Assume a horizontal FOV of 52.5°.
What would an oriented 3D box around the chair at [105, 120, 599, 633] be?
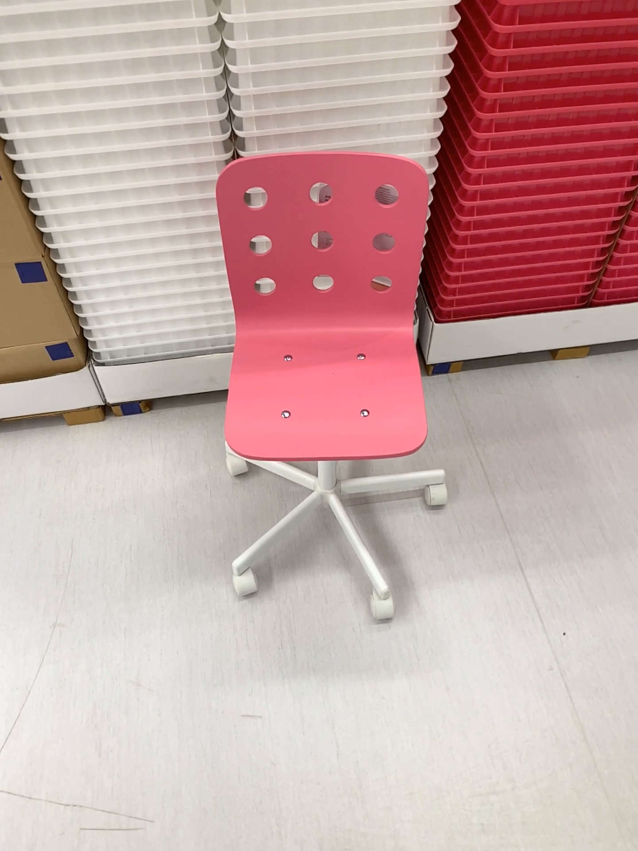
[{"bbox_3d":[0.028,-0.048,1.176,0.550,0.708,0.582,-3,53,-1],"label":"chair"}]
